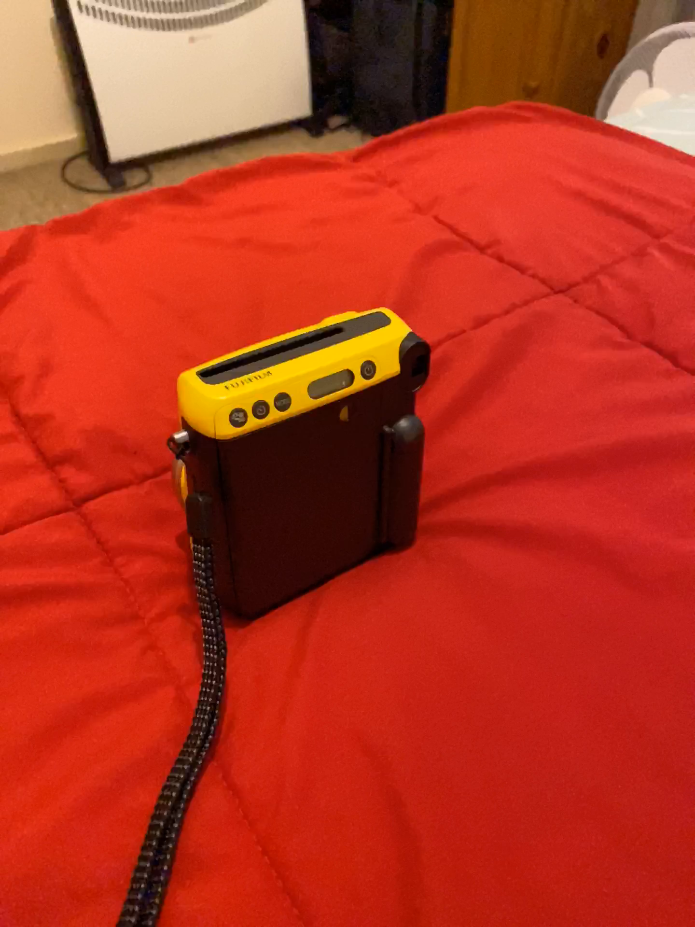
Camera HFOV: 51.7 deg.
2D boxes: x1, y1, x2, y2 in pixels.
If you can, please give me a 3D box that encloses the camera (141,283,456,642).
[{"bbox_3d":[-0.018,-0.001,0.286,0.095,0.103,0.057,-24,47,-25],"label":"camera"}]
